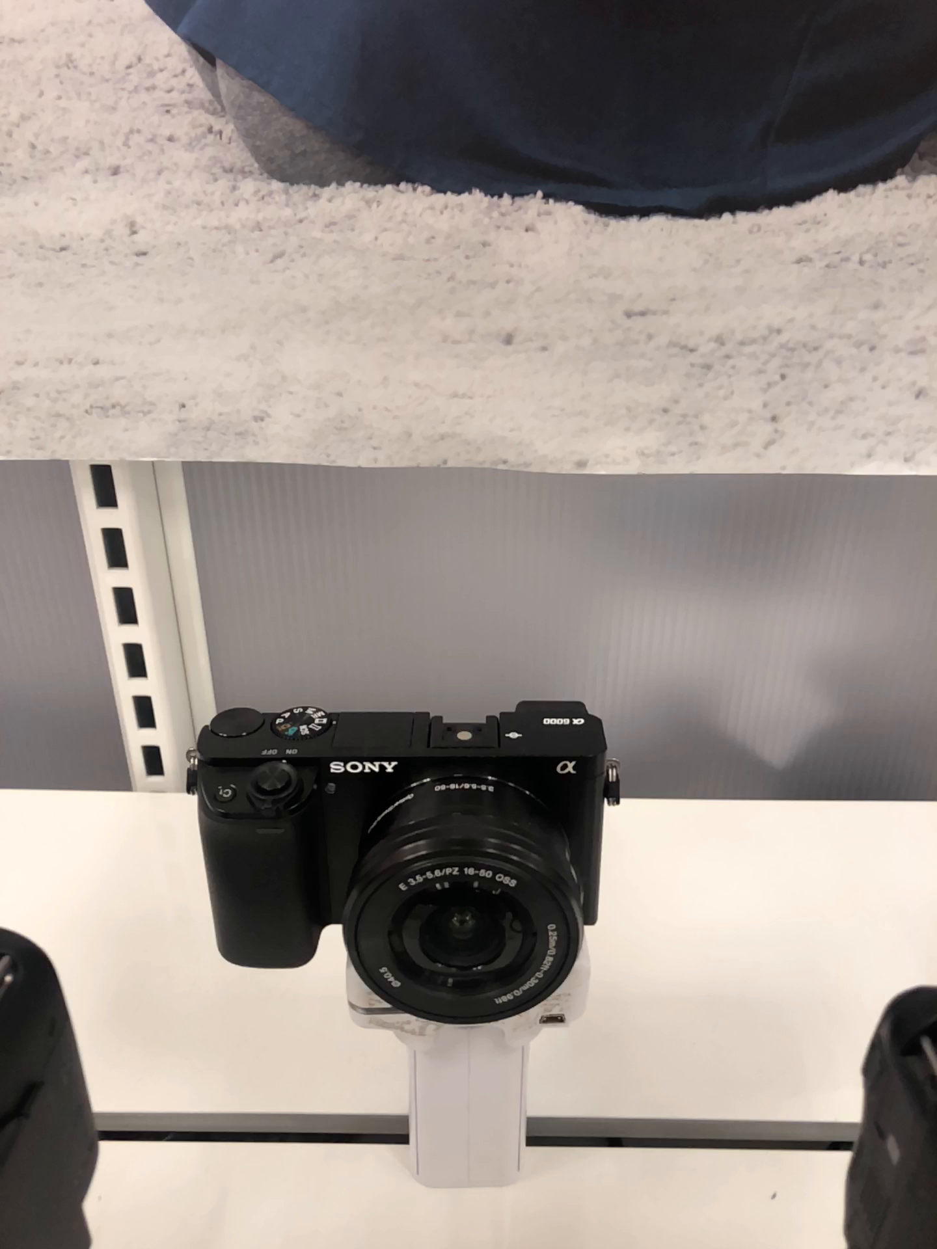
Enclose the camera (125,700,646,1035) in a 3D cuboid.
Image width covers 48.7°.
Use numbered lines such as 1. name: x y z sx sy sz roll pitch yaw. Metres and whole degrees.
1. camera: -0.020 0.064 0.282 0.120 0.058 0.068 0 29 -1
